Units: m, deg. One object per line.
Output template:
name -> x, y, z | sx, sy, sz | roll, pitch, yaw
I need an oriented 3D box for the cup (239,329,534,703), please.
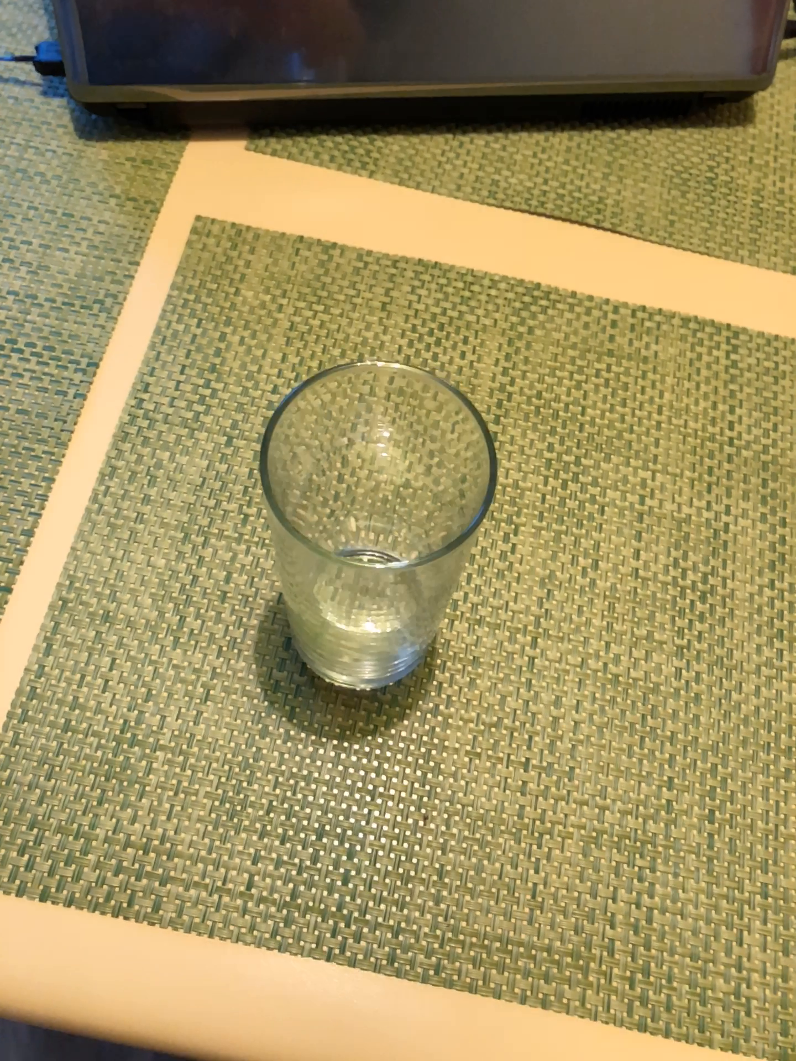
cup -> -0.006, 0.006, 0.287 | 0.070, 0.139, 0.070 | 1, 67, -3
